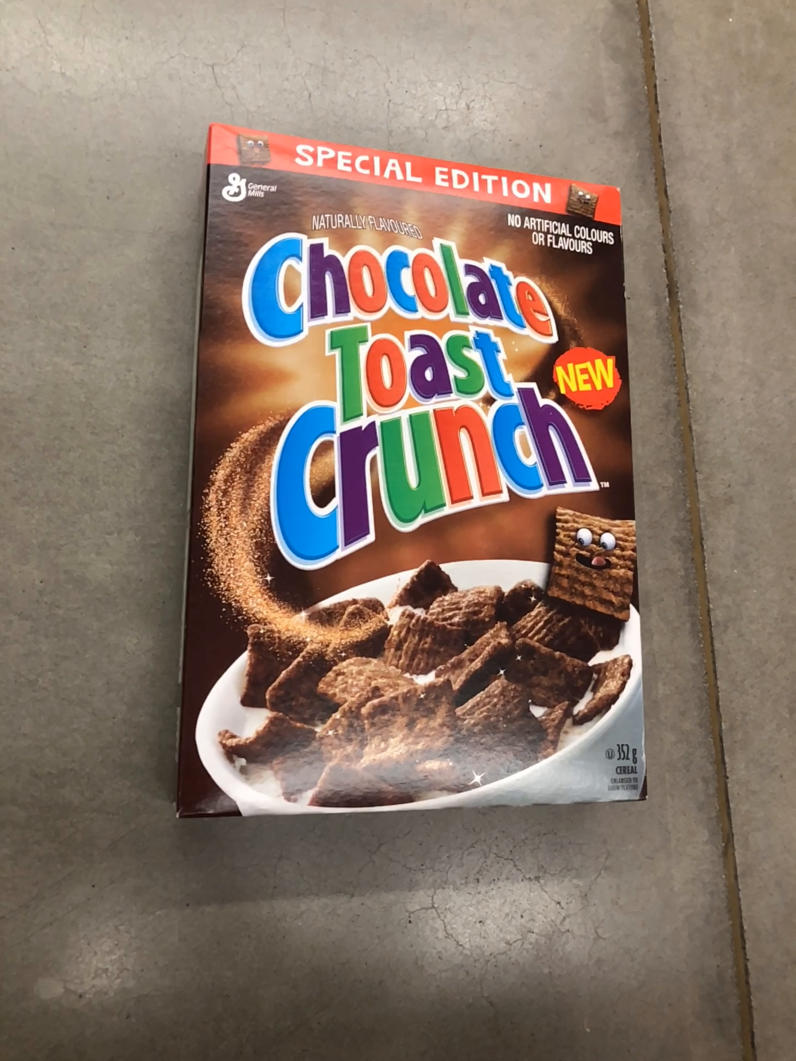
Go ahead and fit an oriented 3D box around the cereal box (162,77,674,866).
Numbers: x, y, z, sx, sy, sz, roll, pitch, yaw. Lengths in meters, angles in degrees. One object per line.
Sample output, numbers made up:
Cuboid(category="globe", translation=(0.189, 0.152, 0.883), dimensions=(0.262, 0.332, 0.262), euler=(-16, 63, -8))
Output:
Cuboid(category="cereal box", translation=(0.002, -0.027, 0.386), dimensions=(0.190, 0.070, 0.310), euler=(3, 75, -16))
